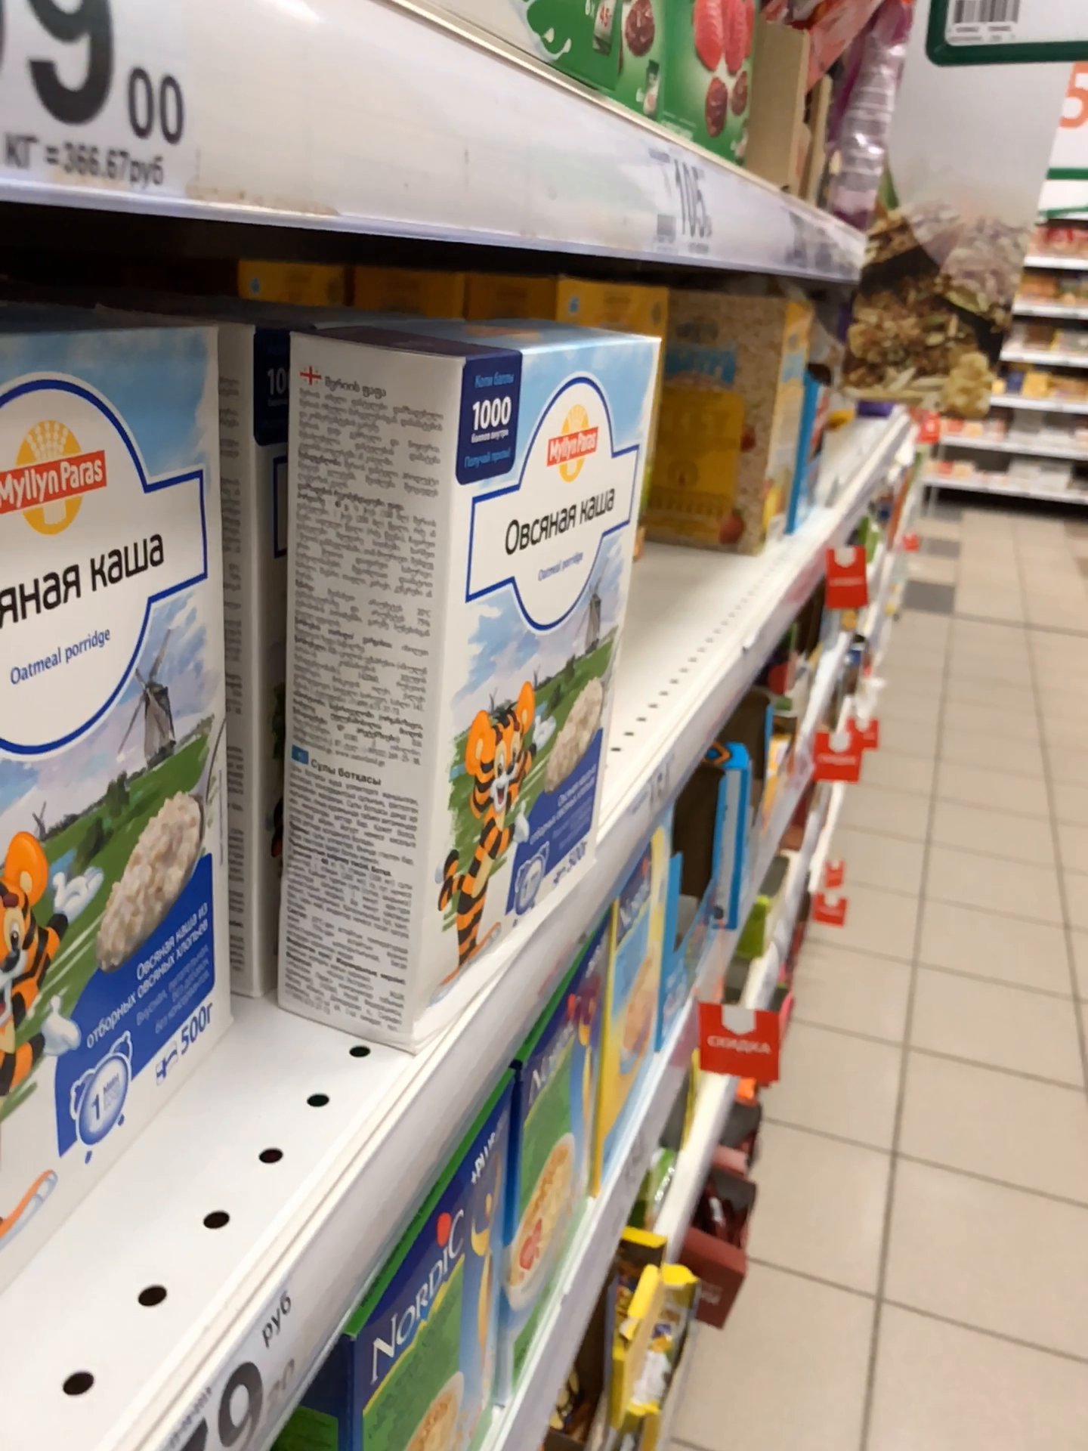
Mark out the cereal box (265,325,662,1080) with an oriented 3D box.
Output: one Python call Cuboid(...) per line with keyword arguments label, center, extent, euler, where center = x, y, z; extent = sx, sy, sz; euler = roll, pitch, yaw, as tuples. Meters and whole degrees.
Cuboid(label="cereal box", center=(-0.023, -0.019, 0.398), extent=(0.050, 0.209, 0.151), euler=(14, 22, 21))
